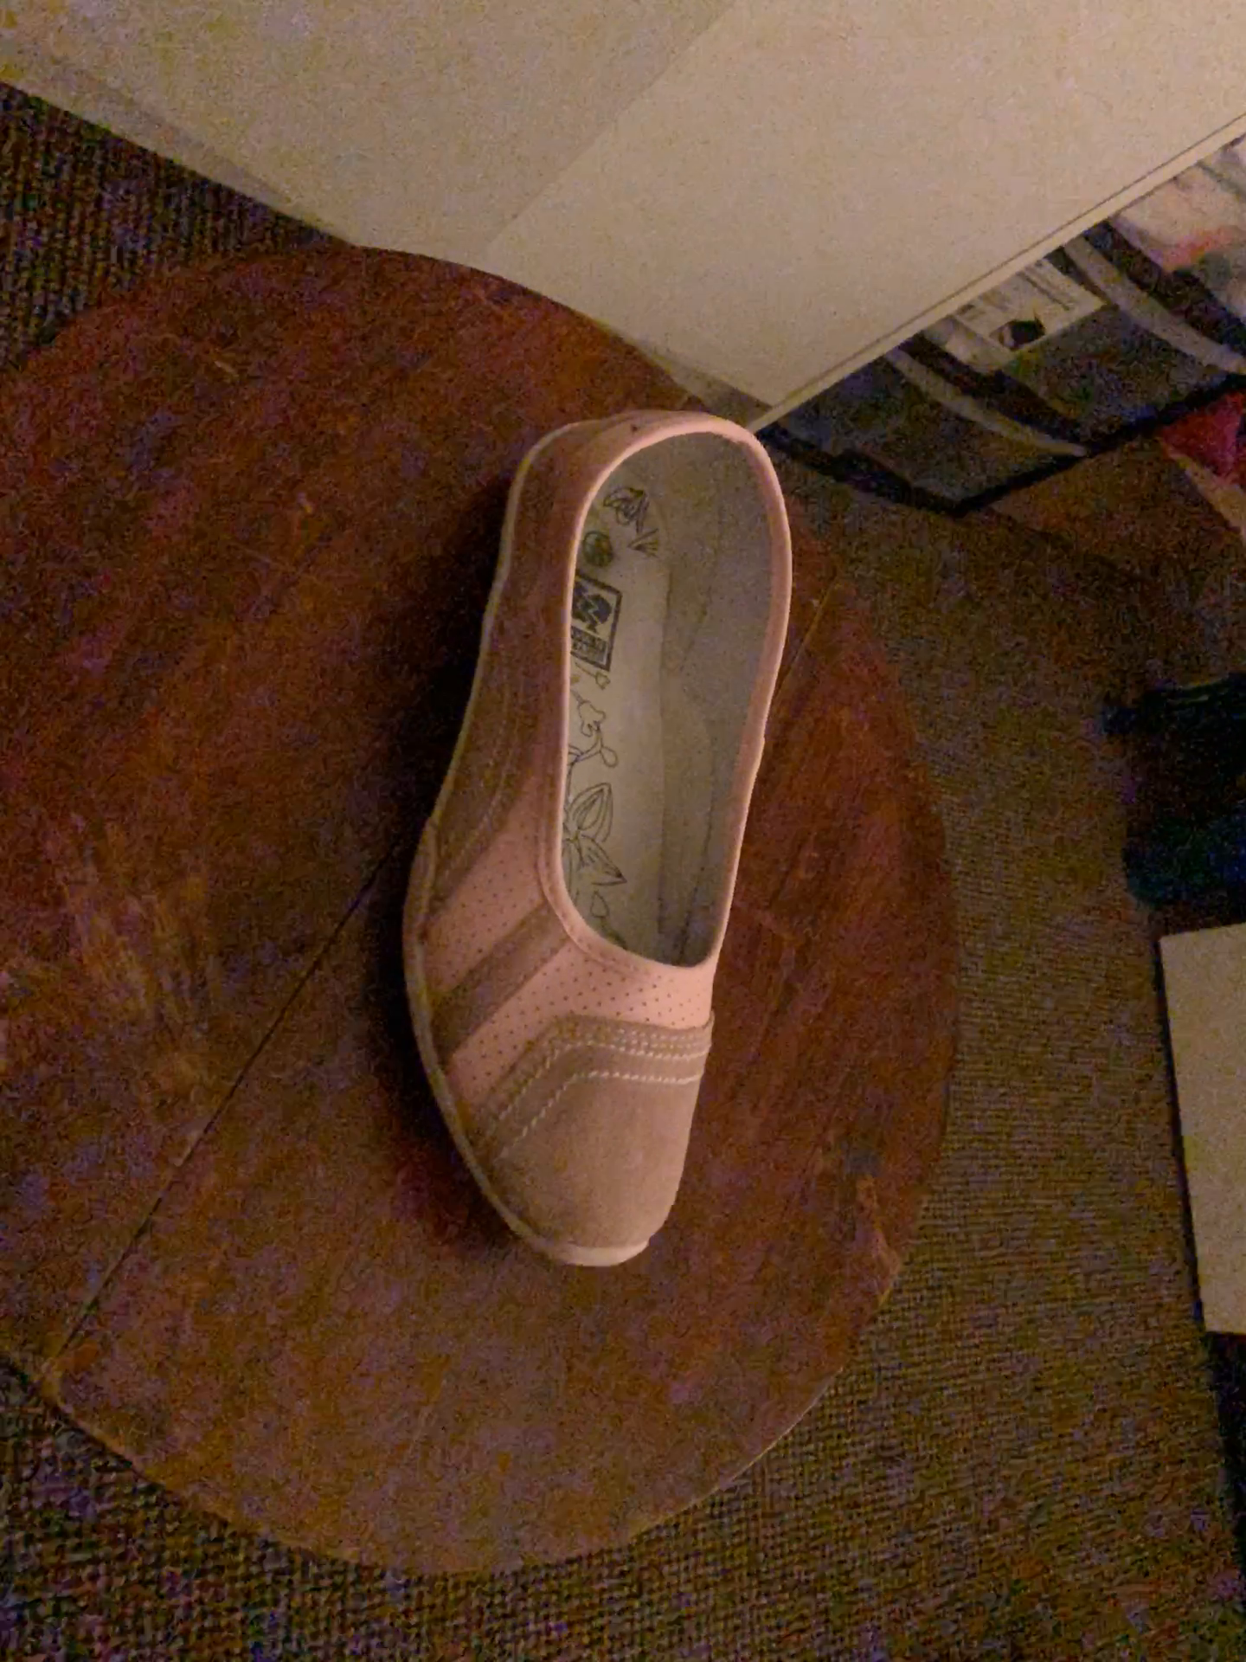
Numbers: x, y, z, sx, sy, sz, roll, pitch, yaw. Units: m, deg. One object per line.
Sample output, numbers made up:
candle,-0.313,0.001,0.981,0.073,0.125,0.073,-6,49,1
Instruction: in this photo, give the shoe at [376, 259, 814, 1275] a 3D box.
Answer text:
shoe,-0.004,-0.016,0.372,0.090,0.069,0.271,15,68,-36
